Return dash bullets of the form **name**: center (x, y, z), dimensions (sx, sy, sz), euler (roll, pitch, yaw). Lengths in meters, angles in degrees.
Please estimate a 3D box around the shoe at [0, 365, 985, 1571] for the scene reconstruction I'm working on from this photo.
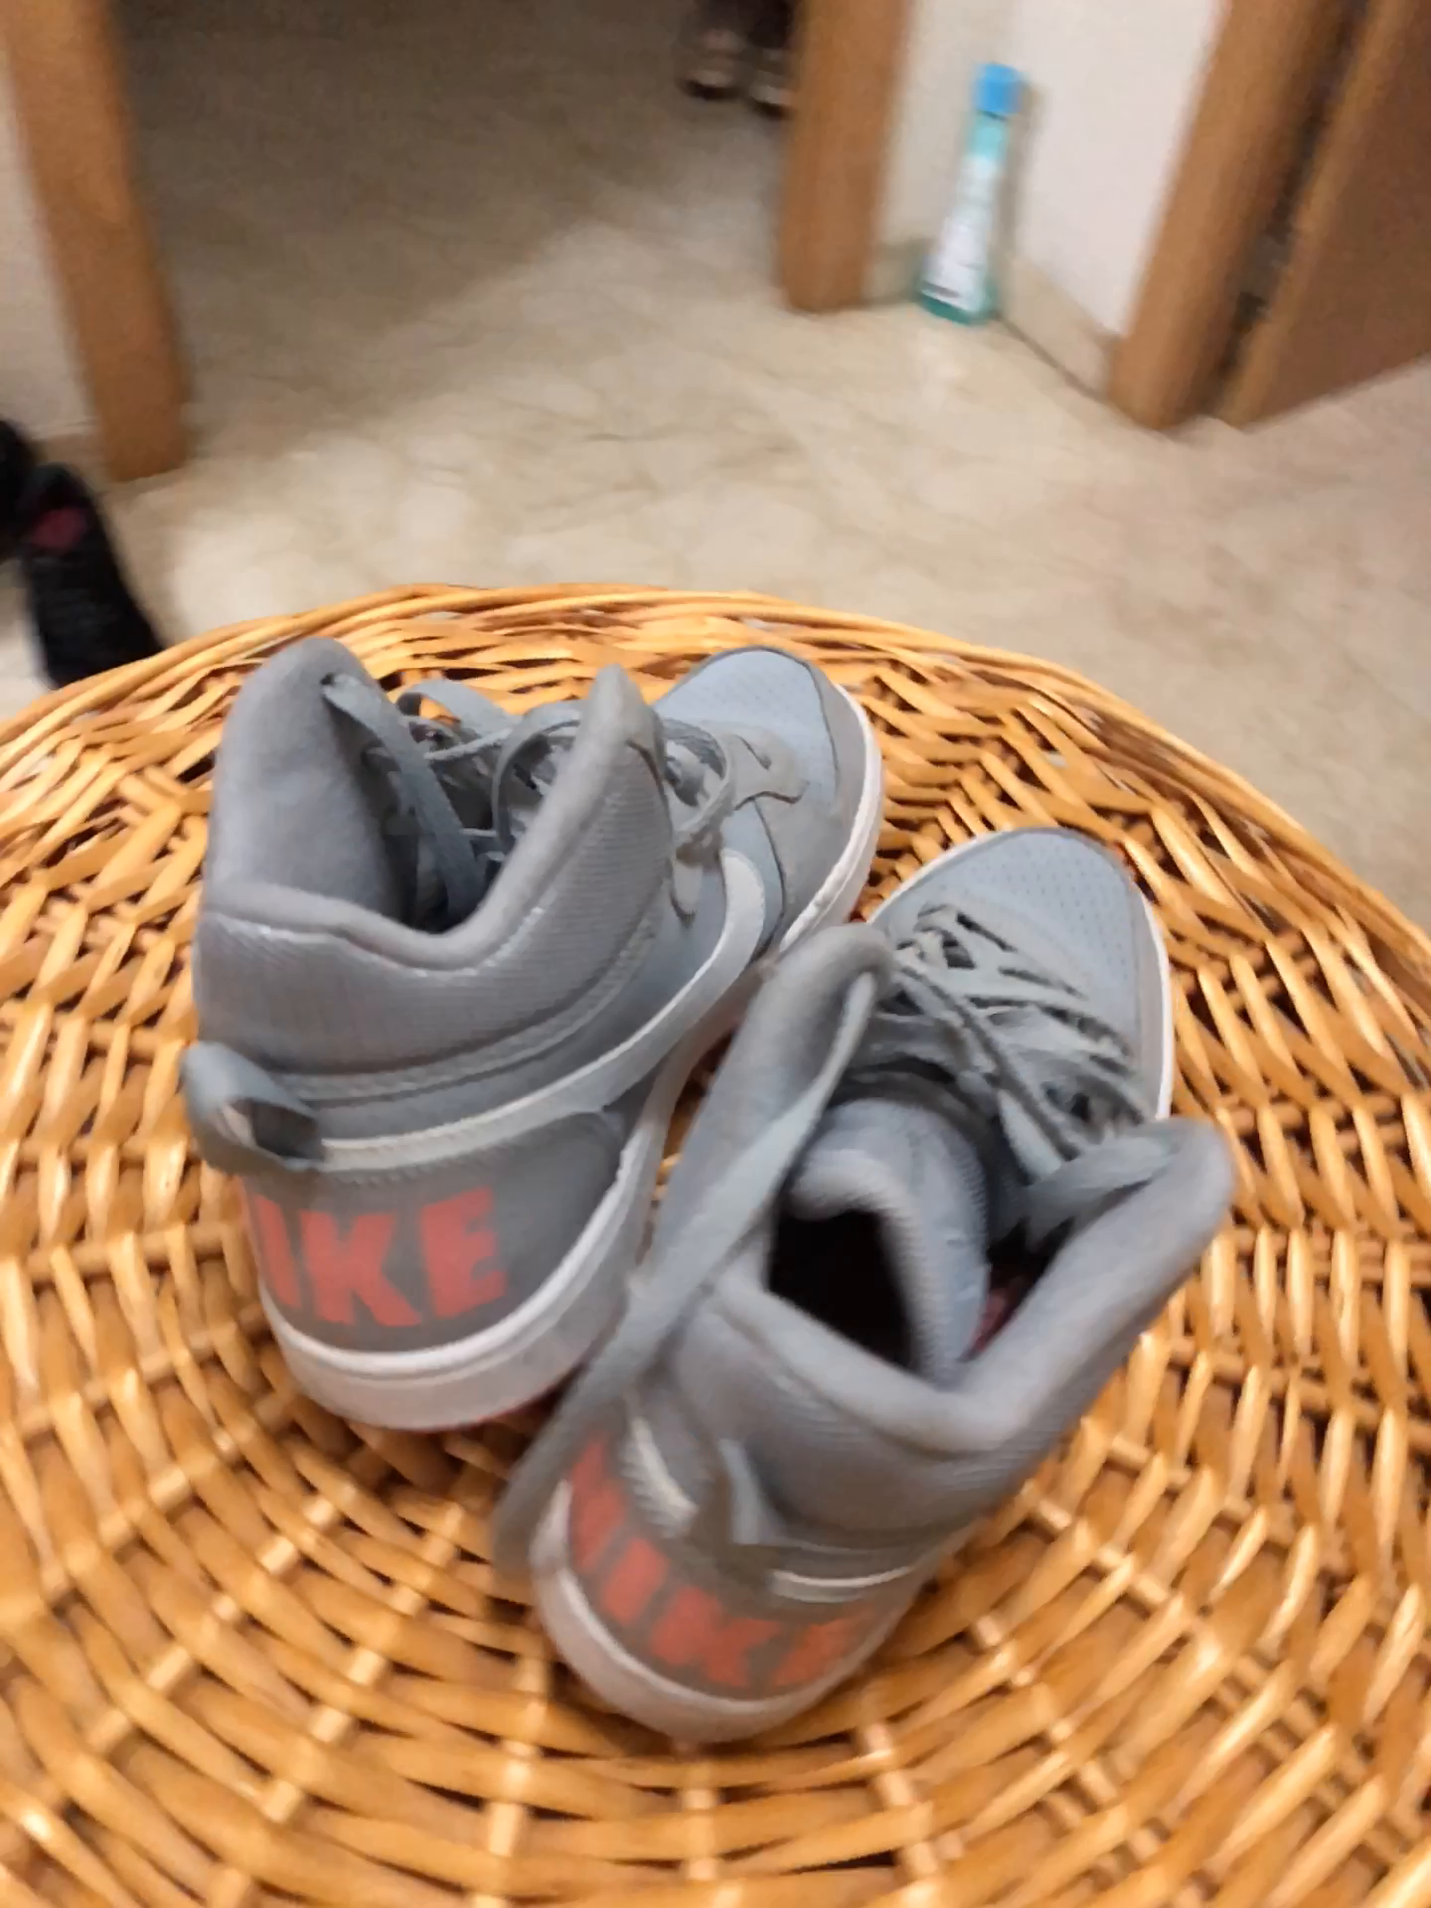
- **shoe**: center (-0.024, -0.015, 0.362), dimensions (0.098, 0.117, 0.248), euler (14, 50, 20)

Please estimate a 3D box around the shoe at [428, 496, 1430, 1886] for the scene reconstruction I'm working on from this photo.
- **shoe**: center (0.056, 0.027, 0.333), dimensions (0.105, 0.120, 0.252), euler (24, 47, 14)
